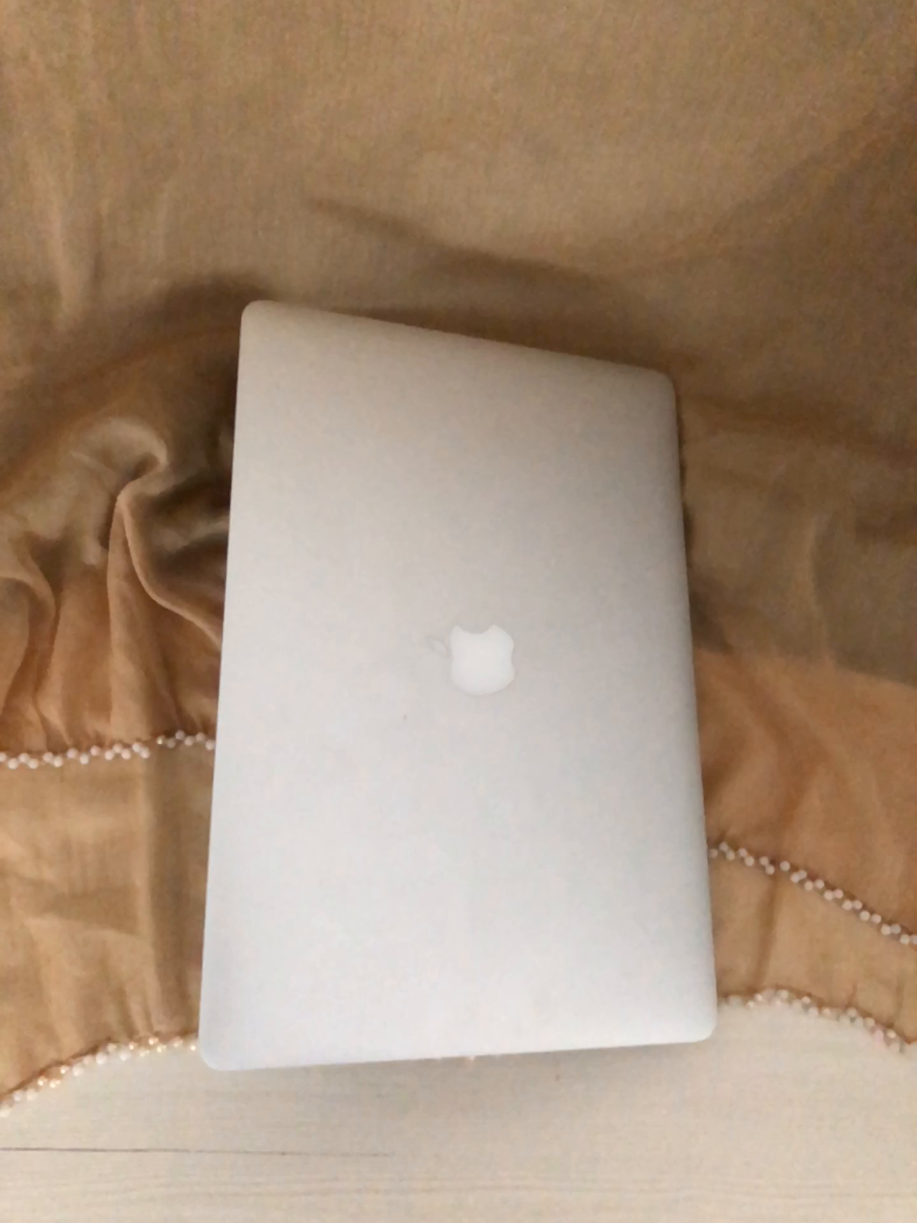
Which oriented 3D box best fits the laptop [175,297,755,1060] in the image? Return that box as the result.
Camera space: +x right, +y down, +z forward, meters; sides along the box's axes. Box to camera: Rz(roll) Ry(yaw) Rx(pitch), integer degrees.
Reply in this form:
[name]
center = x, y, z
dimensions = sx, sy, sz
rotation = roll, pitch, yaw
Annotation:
[laptop]
center = 0.002, 0.024, 0.497
dimensions = 0.239, 0.063, 0.352
rotation = 1, 74, -4
